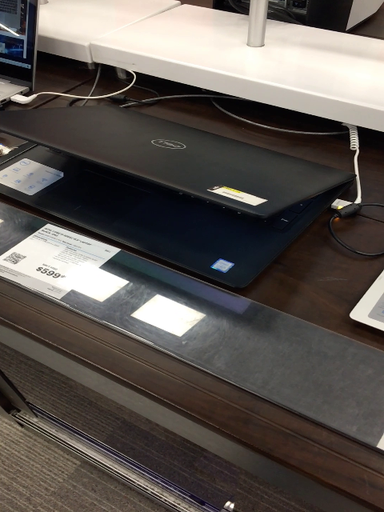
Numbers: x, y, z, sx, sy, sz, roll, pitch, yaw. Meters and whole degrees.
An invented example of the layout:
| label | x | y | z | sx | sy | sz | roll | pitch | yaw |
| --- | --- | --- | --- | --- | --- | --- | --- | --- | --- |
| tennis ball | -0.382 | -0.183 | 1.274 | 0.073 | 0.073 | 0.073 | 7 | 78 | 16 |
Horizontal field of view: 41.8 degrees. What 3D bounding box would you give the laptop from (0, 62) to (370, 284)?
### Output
| label | x | y | z | sx | sy | sz | roll | pitch | yaw |
| --- | --- | --- | --- | --- | --- | --- | --- | --- | --- |
| laptop | -0.043 | -0.127 | 0.638 | 0.401 | 0.081 | 0.222 | 25 | 56 | 26 |
